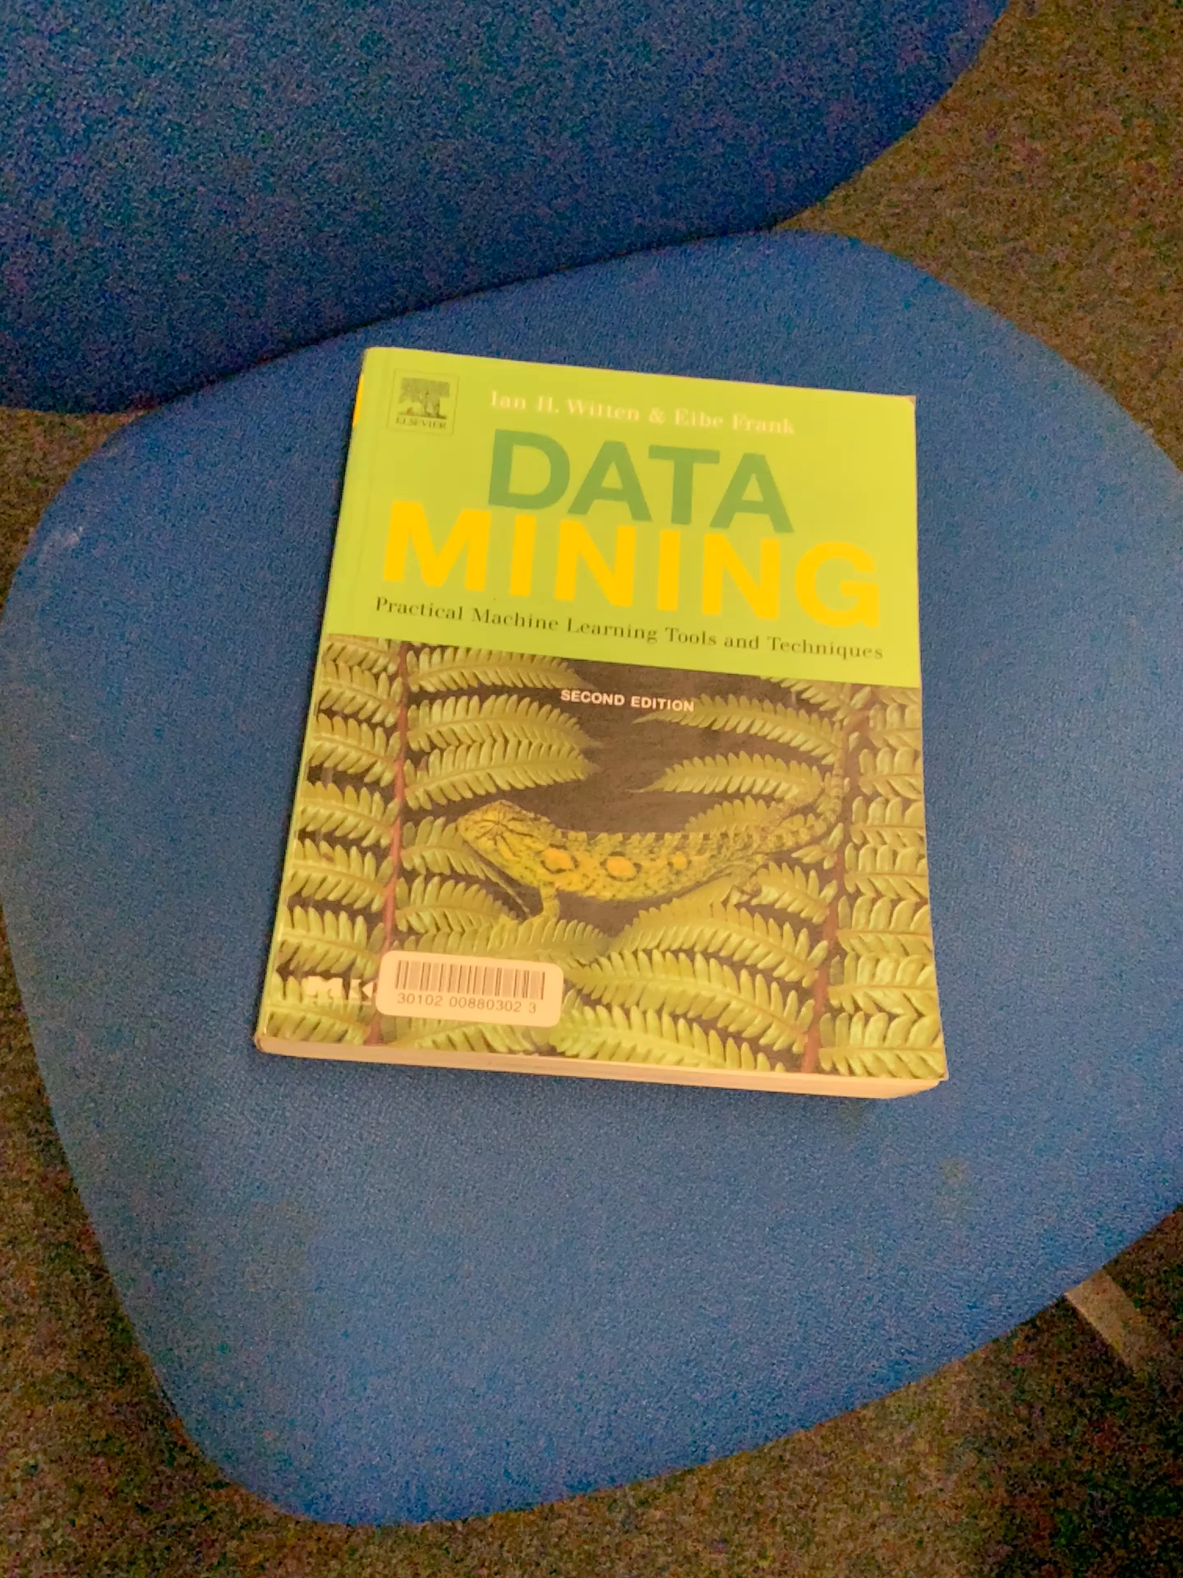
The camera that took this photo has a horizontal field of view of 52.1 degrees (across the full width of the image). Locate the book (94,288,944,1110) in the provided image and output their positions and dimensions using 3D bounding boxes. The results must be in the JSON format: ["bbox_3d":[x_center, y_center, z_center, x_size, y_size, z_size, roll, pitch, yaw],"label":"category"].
[{"bbox_3d":[-0.012,-0.032,0.377,0.220,0.050,0.241,4,70,-2],"label":"book"}]
